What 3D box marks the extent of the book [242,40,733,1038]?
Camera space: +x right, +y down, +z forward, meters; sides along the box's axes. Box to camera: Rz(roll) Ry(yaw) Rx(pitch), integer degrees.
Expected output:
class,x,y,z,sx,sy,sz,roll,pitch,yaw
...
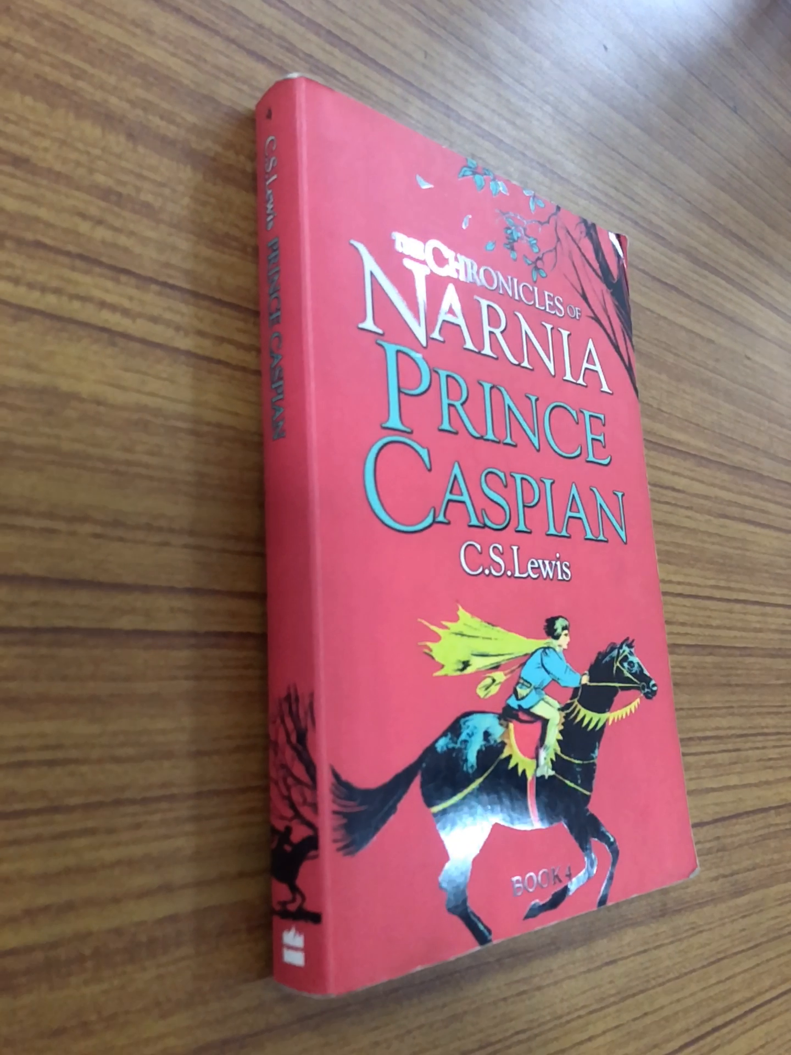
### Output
class,x,y,z,sx,sy,sz,roll,pitch,yaw
book,0.027,0.001,0.220,0.131,0.030,0.190,7,76,-42
